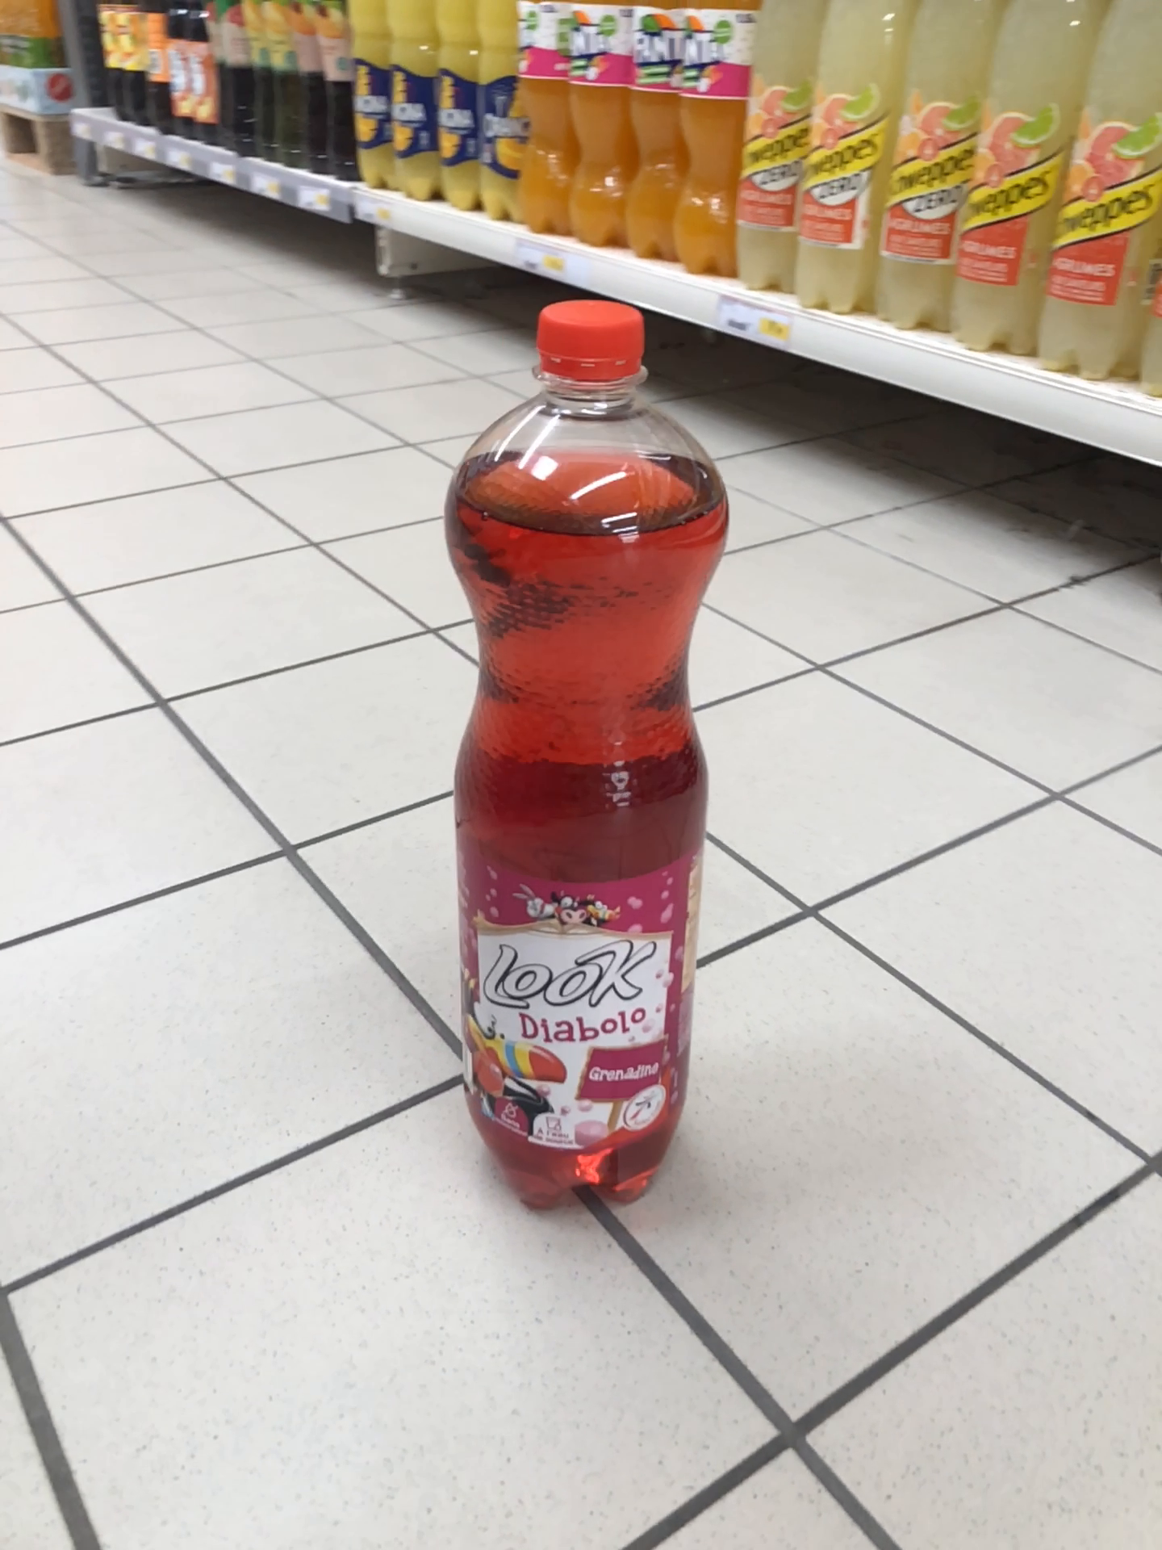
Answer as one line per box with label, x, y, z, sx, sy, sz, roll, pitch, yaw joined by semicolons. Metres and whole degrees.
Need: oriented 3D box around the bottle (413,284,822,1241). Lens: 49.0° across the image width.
bottle;0.008;0.008;0.432;0.100;0.308;0.101;1;30;-1
